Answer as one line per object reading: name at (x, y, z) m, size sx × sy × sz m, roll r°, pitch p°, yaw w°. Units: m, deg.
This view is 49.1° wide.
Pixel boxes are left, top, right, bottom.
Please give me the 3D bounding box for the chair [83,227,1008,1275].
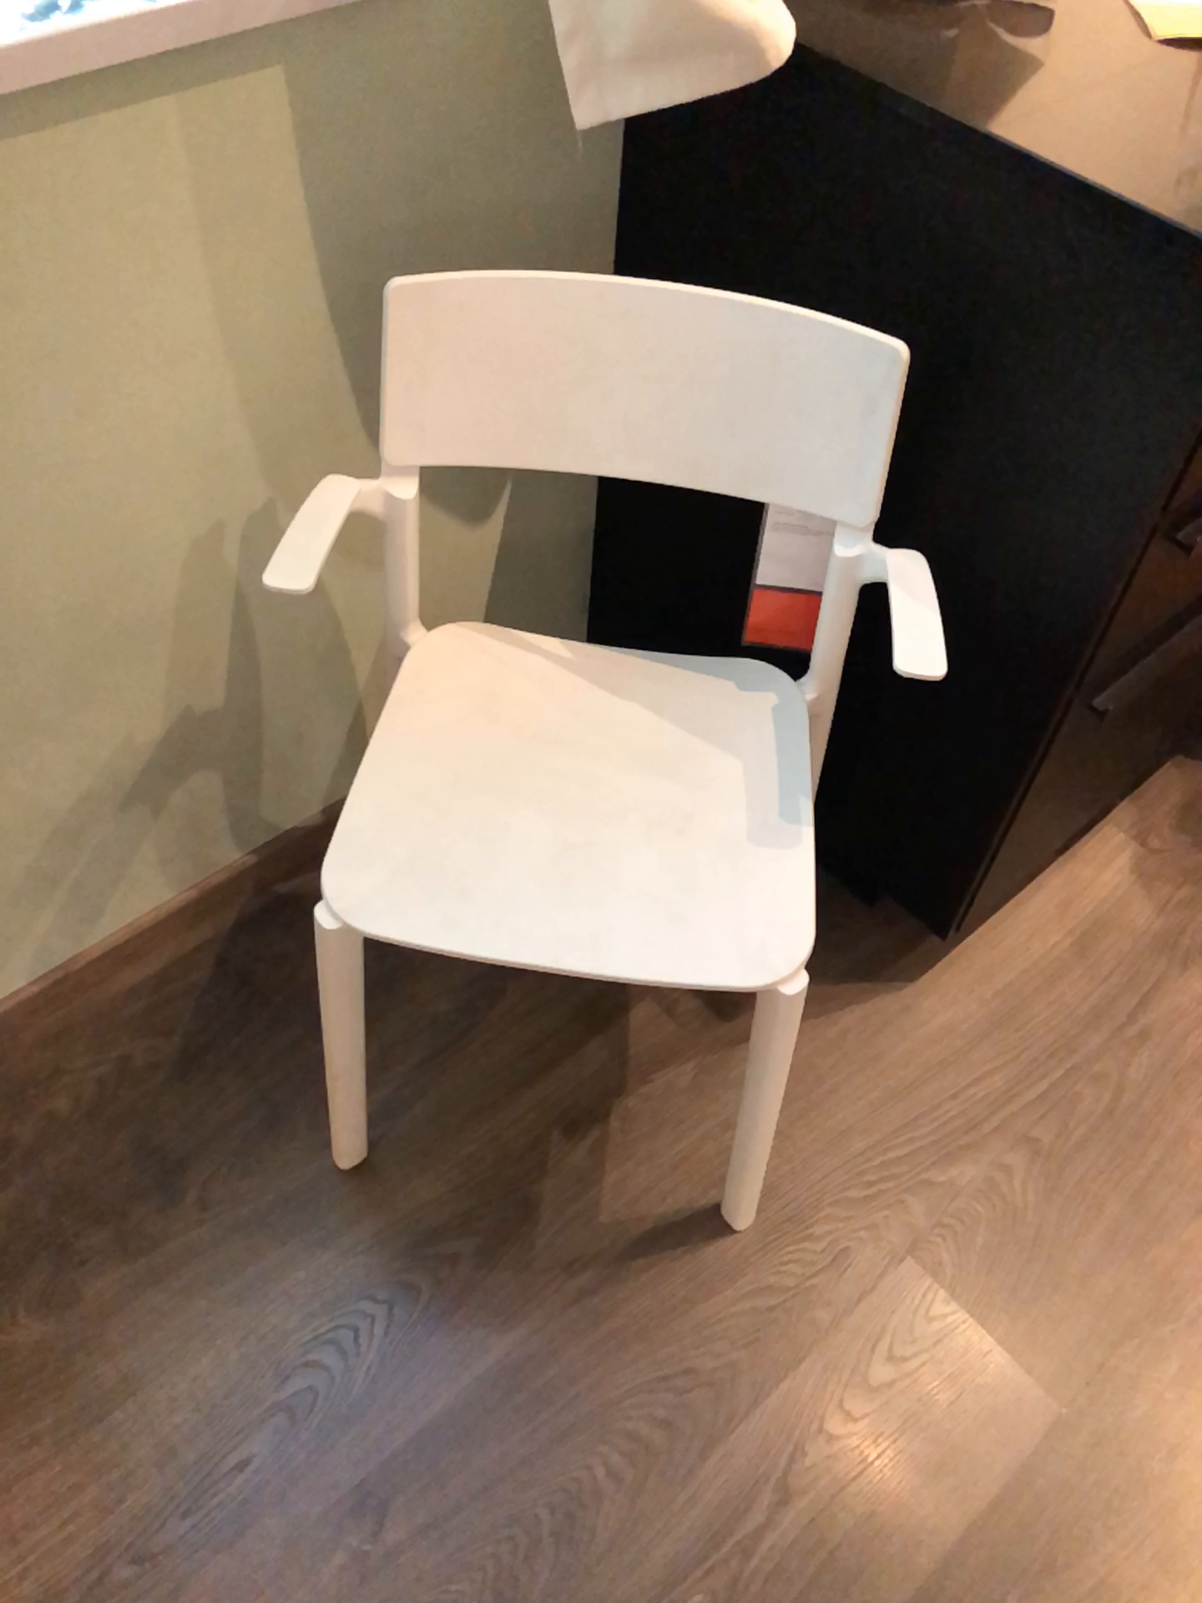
chair at (-0.017, -0.013, 1.264) m, size 0.560 × 0.756 × 0.583 m, roll 8°, pitch 50°, yaw 3°
